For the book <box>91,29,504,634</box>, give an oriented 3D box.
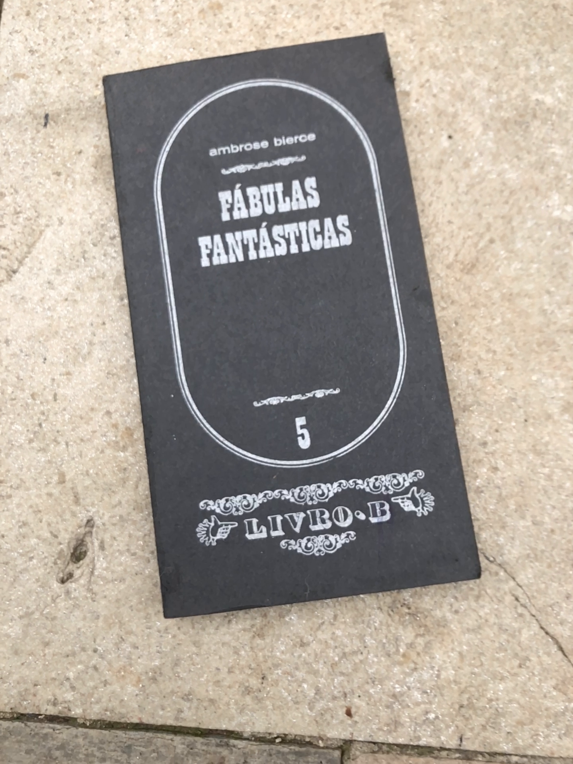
[{"bbox_3d":[0.000,-0.019,0.205,0.104,0.013,0.176,-8,83,2],"label":"book"}]
